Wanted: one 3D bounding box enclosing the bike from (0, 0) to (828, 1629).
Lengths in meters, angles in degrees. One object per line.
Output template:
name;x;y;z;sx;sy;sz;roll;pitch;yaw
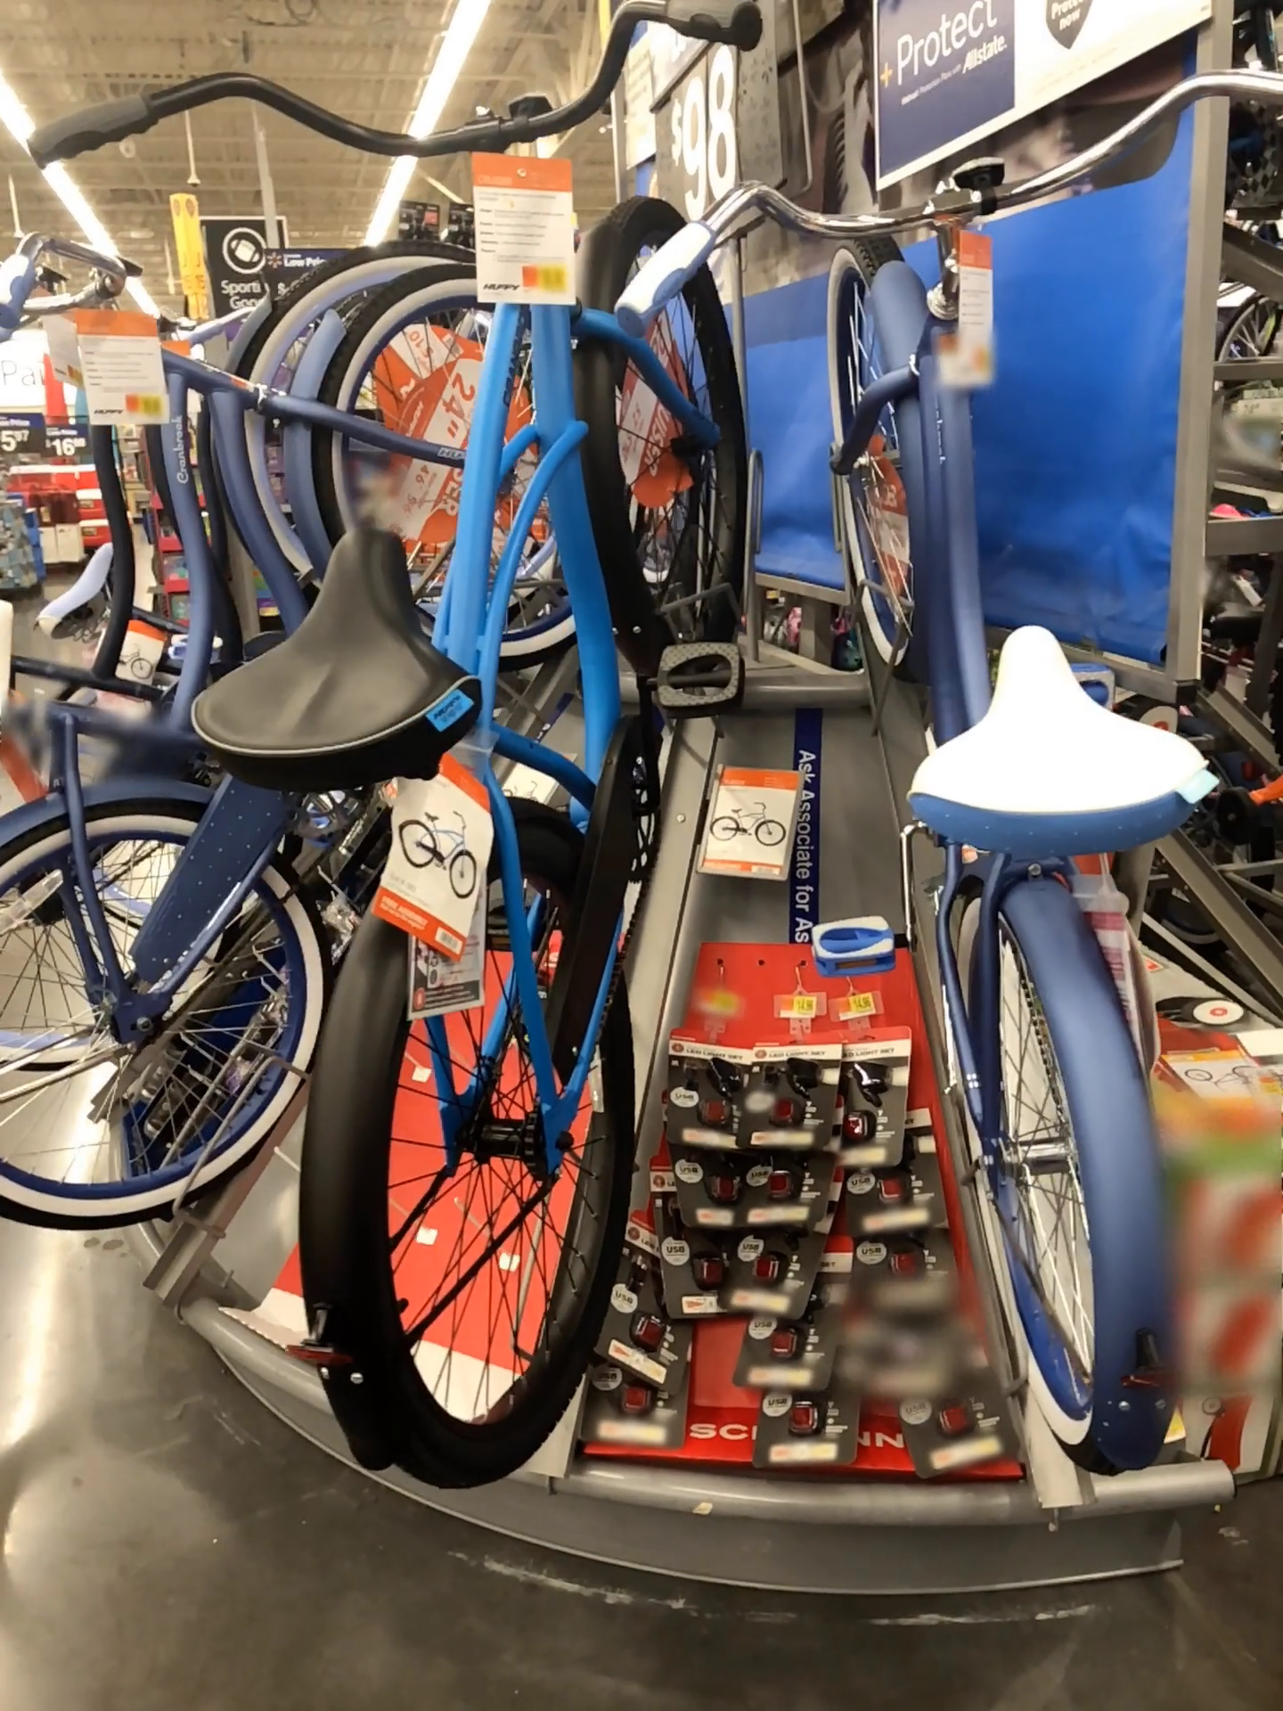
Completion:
bike;-0.135;-0.655;1.470;0.505;1.119;1.566;2;43;15
